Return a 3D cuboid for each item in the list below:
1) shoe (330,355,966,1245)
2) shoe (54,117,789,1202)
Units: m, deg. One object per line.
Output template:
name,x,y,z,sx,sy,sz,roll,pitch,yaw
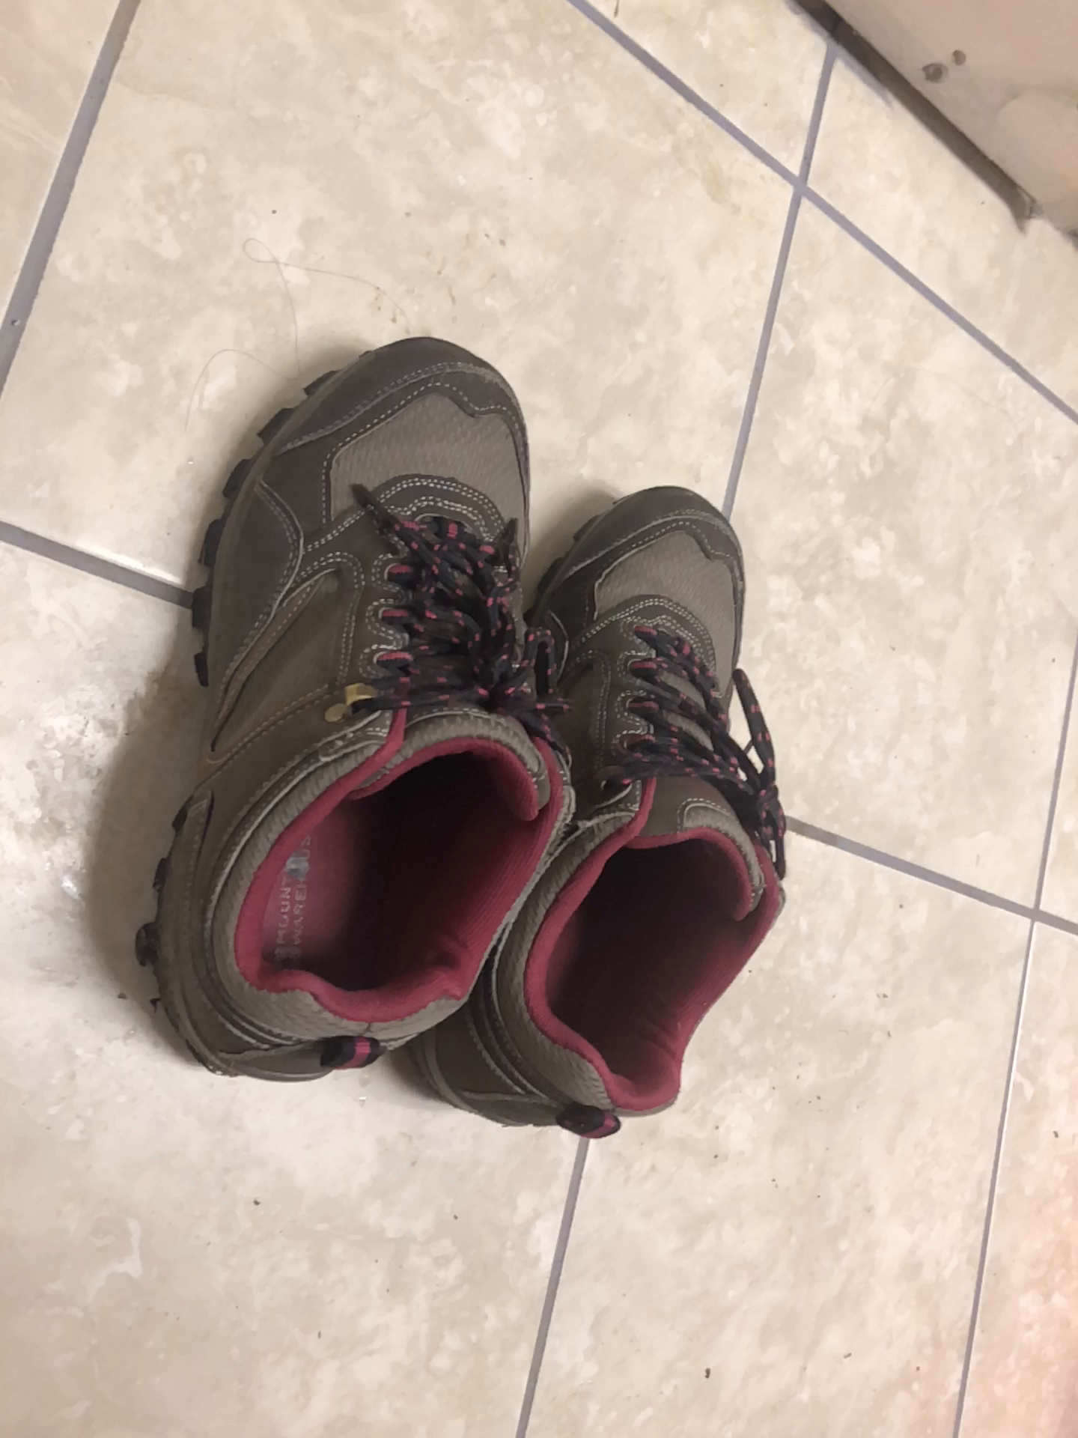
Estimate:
shoe,0.042,0.026,0.424,0.110,0.120,0.260,26,75,-32
shoe,-0.034,-0.012,0.370,0.120,0.120,0.270,21,77,-33
